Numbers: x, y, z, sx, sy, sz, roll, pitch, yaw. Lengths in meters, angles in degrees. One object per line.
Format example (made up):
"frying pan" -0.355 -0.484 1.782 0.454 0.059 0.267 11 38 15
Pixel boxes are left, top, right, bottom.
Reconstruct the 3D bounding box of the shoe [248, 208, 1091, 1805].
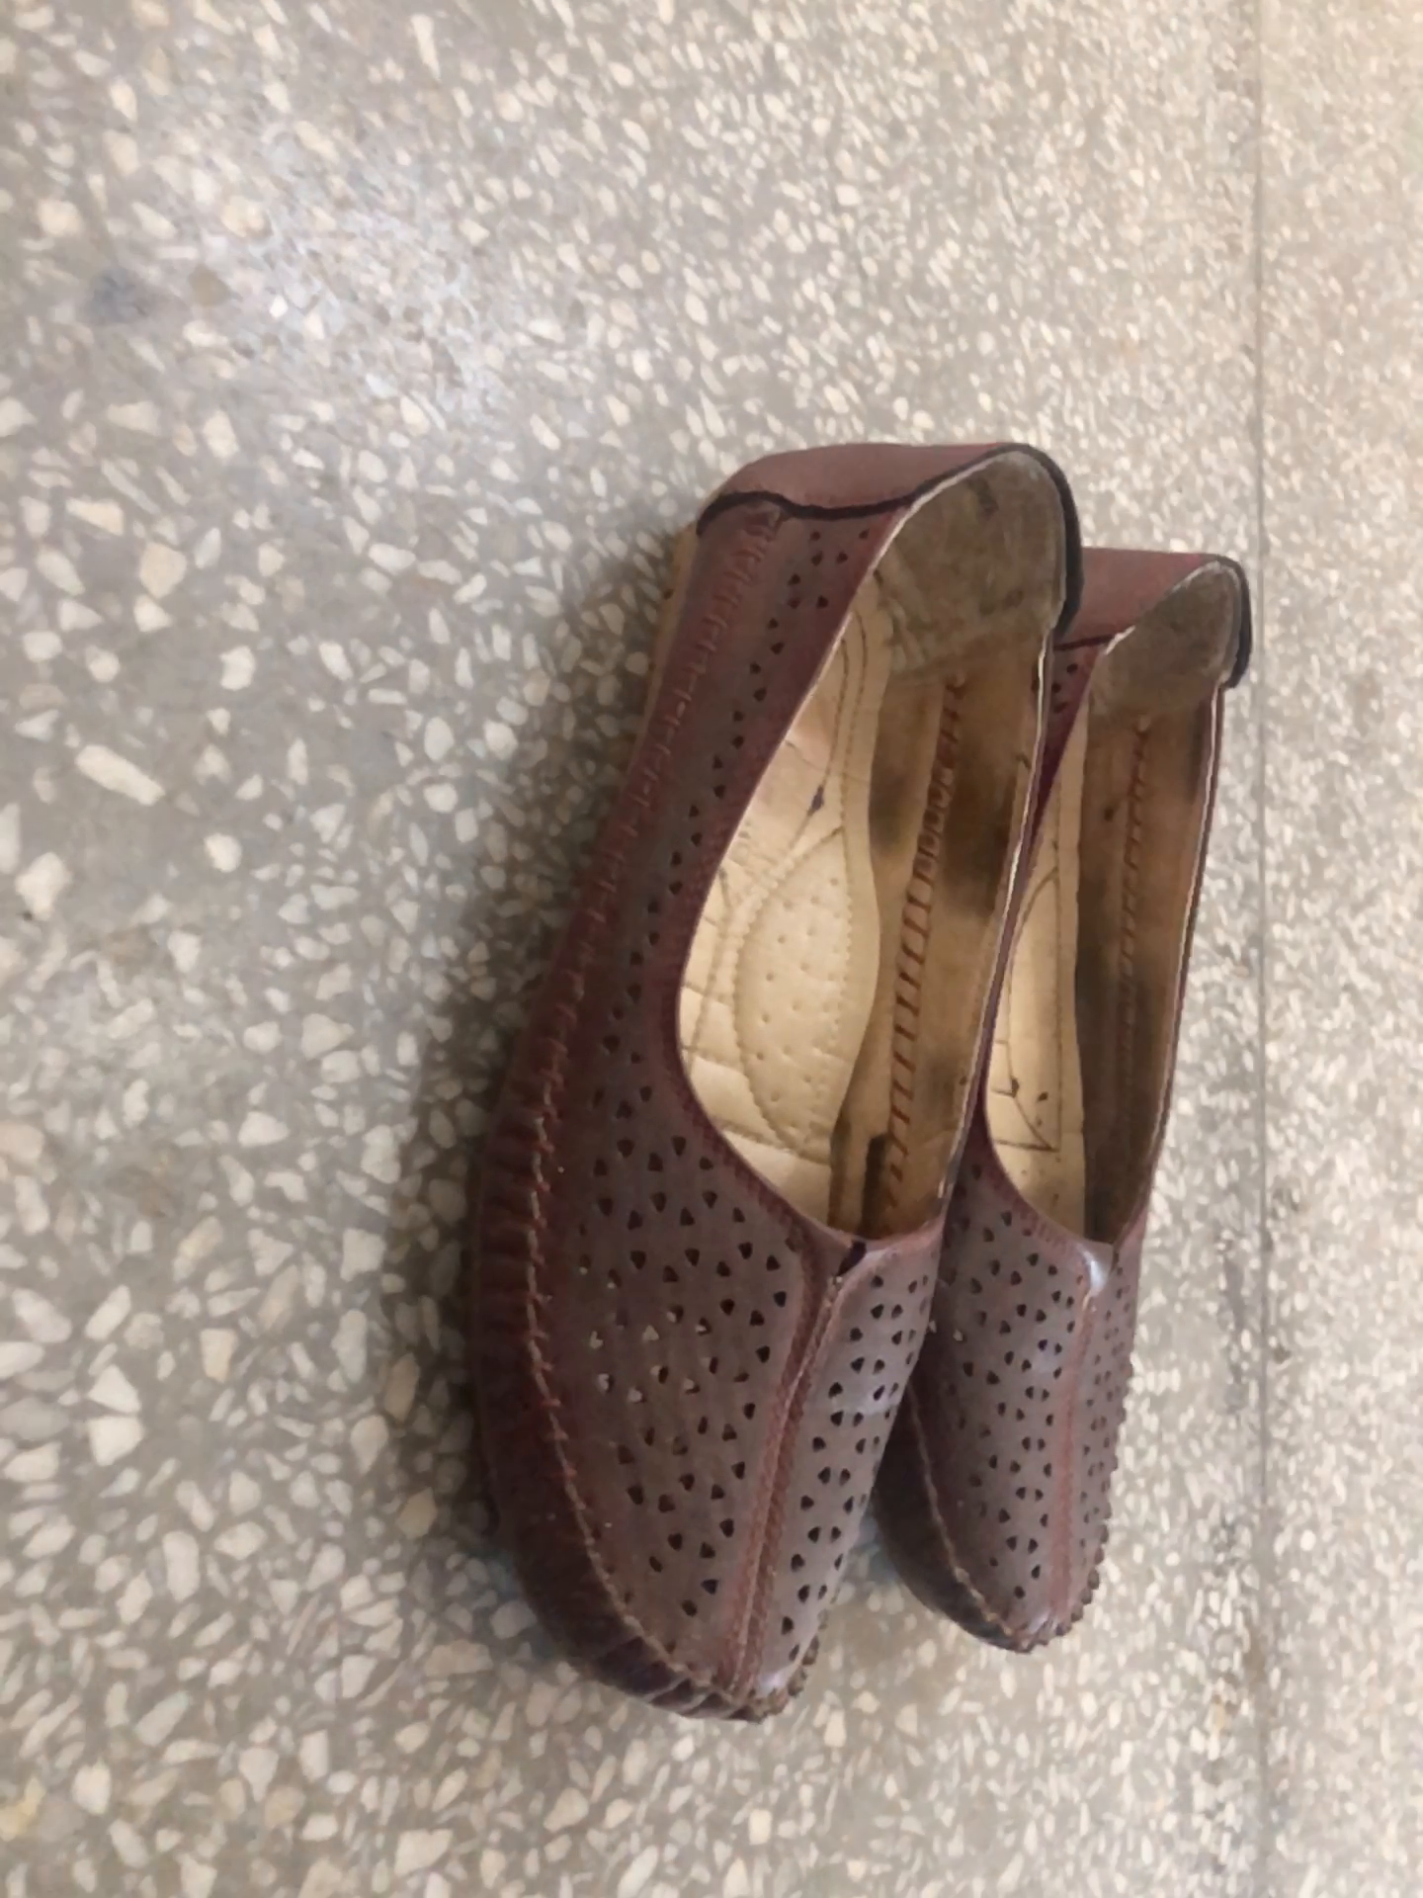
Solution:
"shoe" 0.003 0.008 0.278 0.088 0.080 0.236 24 66 -40

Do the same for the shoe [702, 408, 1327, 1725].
"shoe" 0.064 0.024 0.335 0.096 0.080 0.231 14 72 -43
